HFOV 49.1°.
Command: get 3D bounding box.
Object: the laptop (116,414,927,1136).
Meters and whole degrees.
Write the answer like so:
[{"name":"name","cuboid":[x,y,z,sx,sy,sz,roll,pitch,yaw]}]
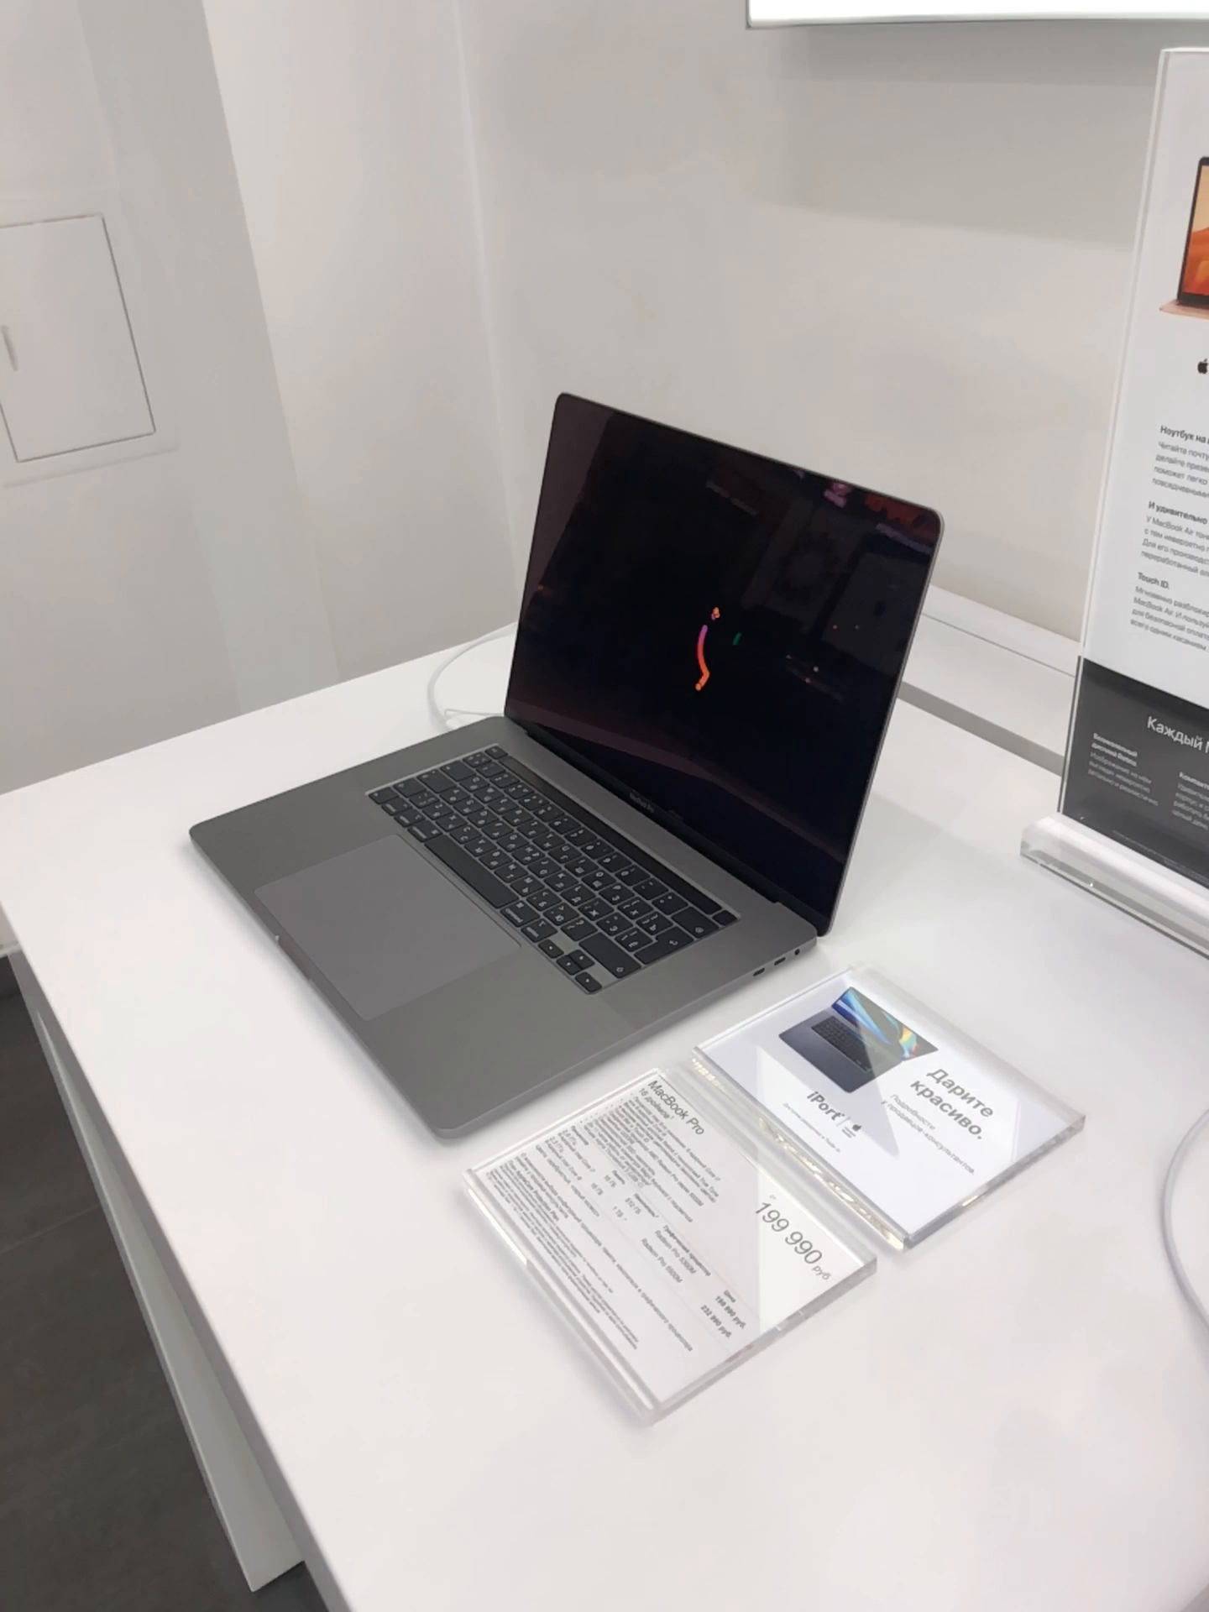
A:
[{"name":"laptop","cuboid":[-0.052,-0.055,0.759,0.310,0.209,0.329,-24,36,-27]}]
